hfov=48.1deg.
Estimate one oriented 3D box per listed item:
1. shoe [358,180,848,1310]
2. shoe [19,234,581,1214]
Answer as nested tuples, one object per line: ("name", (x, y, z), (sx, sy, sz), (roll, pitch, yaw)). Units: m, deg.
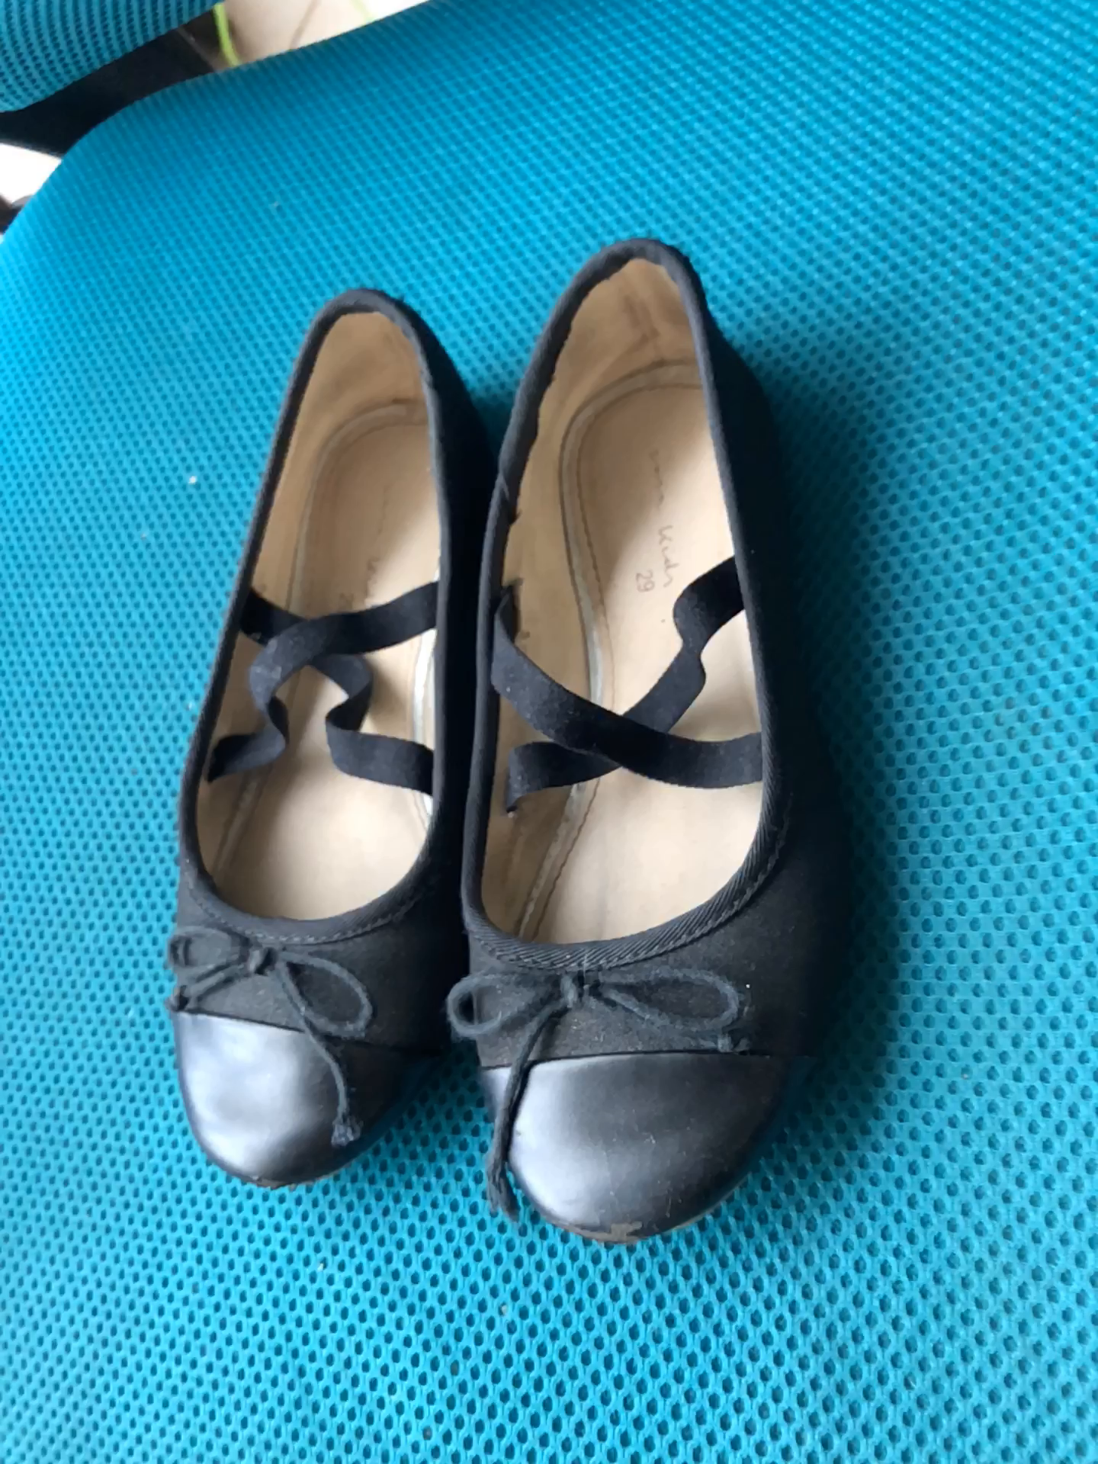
("shoe", (0.016, -0.001, 0.234), (0.069, 0.050, 0.190), (-4, 71, 24))
("shoe", (-0.048, -0.004, 0.270), (0.081, 0.050, 0.194), (-2, 72, 25))
